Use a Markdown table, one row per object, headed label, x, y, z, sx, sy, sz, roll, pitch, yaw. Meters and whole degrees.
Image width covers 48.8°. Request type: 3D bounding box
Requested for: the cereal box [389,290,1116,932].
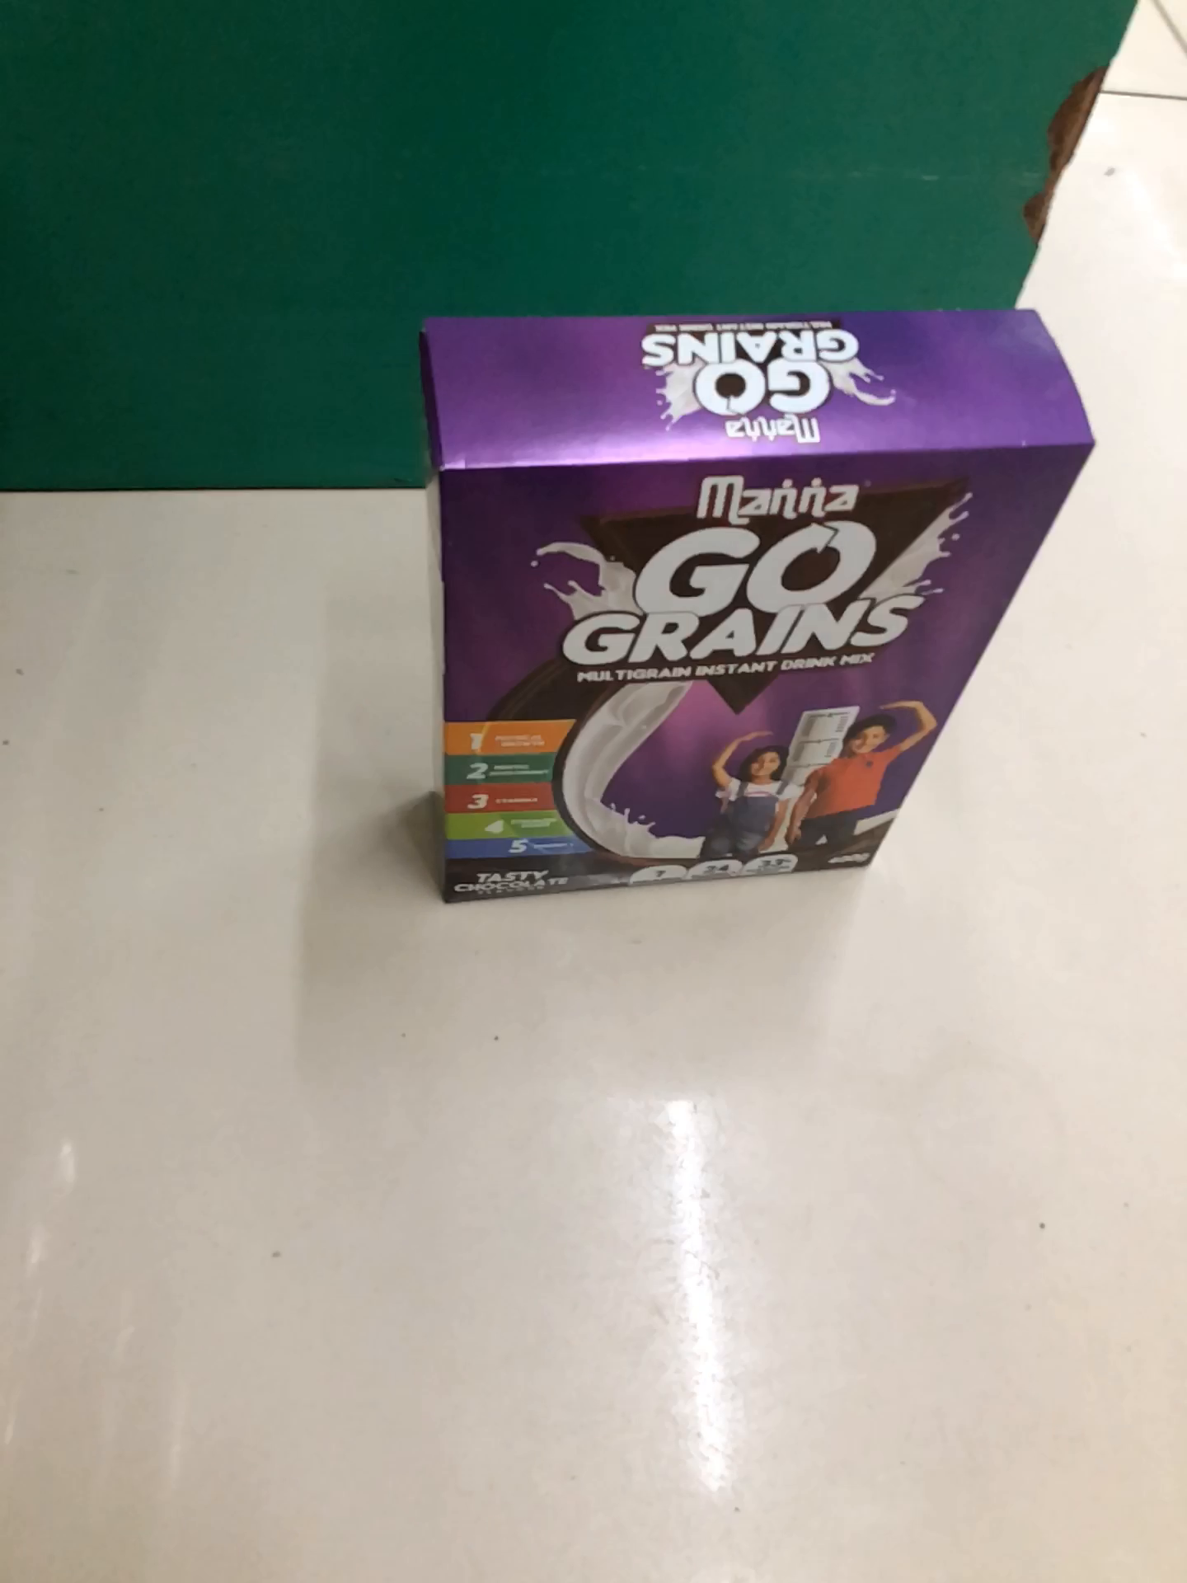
| label | x | y | z | sx | sy | sz | roll | pitch | yaw |
| --- | --- | --- | --- | --- | --- | --- | --- | --- | --- |
| cereal box | 0.025 | -0.037 | 0.357 | 0.150 | 0.189 | 0.050 | -5 | 56 | -10 |
